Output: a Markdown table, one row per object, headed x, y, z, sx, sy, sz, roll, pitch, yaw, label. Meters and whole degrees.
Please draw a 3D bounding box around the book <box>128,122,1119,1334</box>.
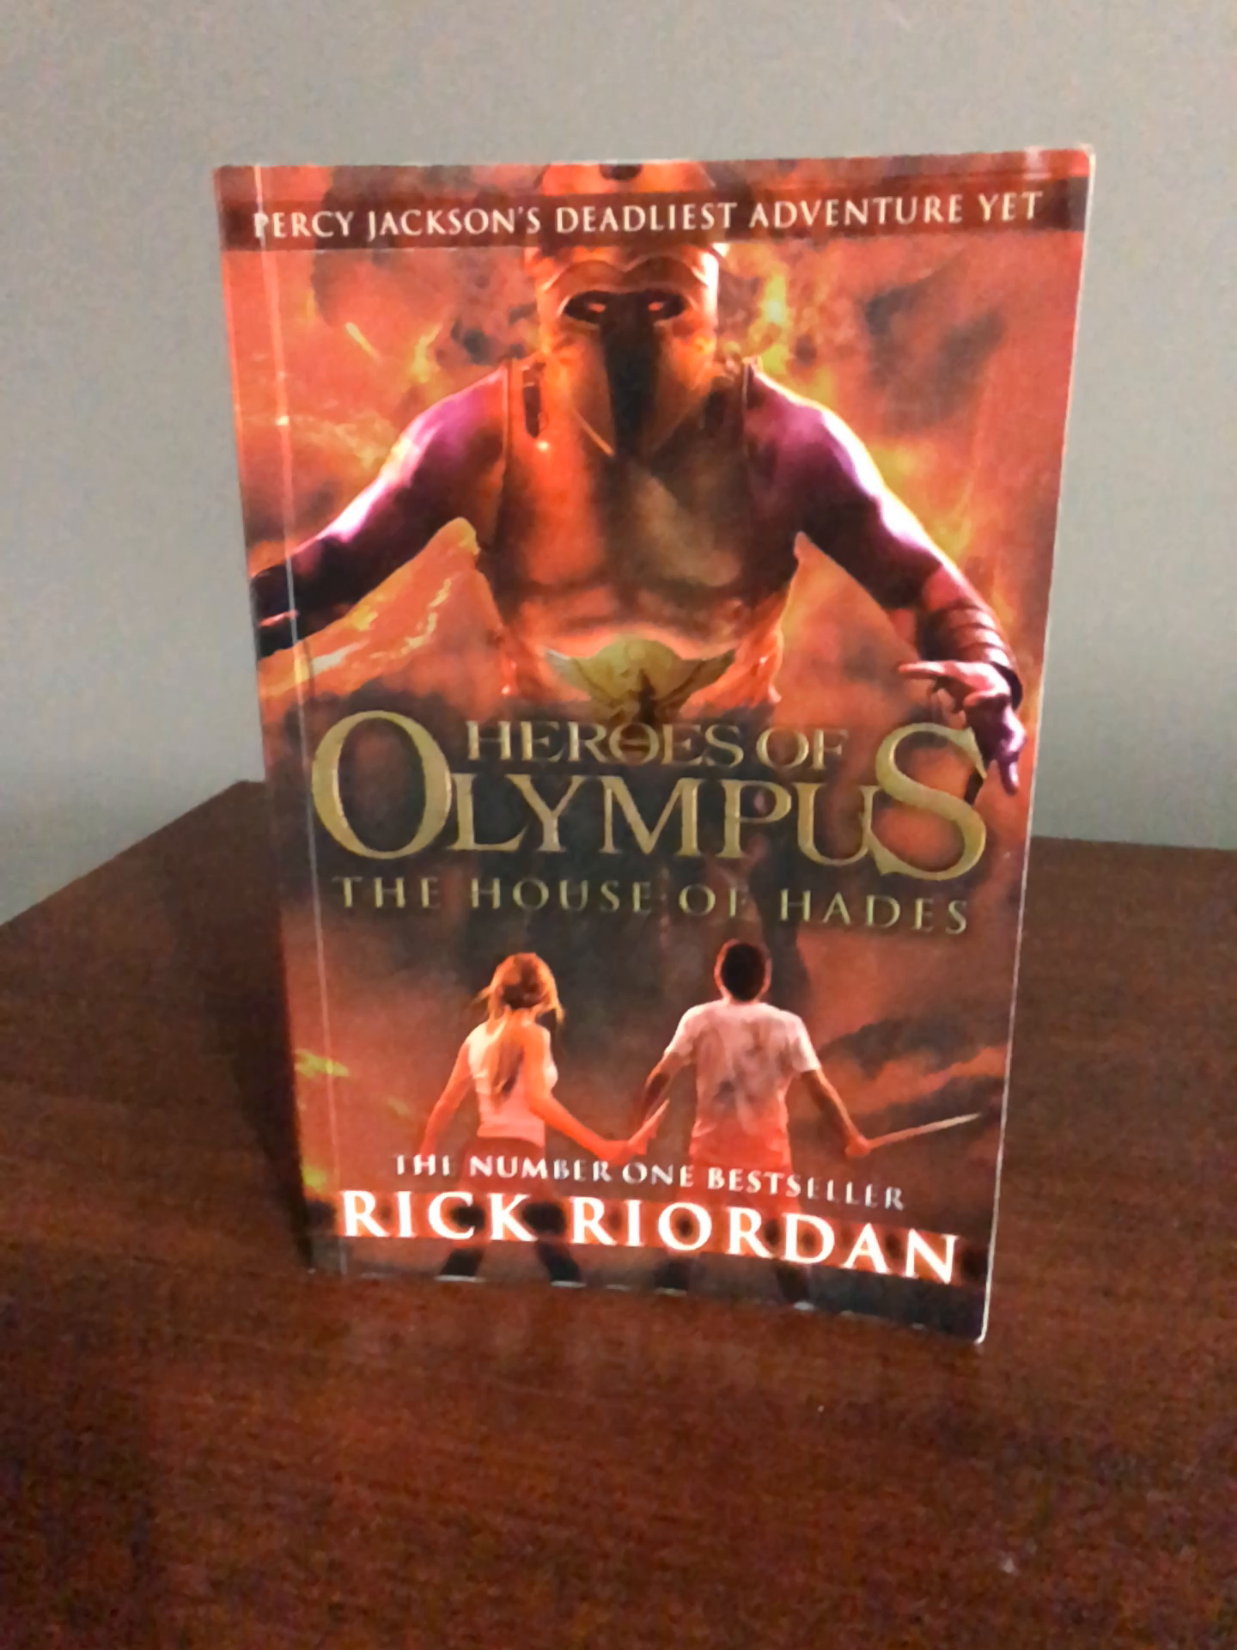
| x | y | z | sx | sy | sz | roll | pitch | yaw | label |
| --- | --- | --- | --- | --- | --- | --- | --- | --- | --- |
| 0.001 | -0.014 | 0.253 | 0.140 | 0.199 | 0.060 | 2 | 18 | 4 | book |
